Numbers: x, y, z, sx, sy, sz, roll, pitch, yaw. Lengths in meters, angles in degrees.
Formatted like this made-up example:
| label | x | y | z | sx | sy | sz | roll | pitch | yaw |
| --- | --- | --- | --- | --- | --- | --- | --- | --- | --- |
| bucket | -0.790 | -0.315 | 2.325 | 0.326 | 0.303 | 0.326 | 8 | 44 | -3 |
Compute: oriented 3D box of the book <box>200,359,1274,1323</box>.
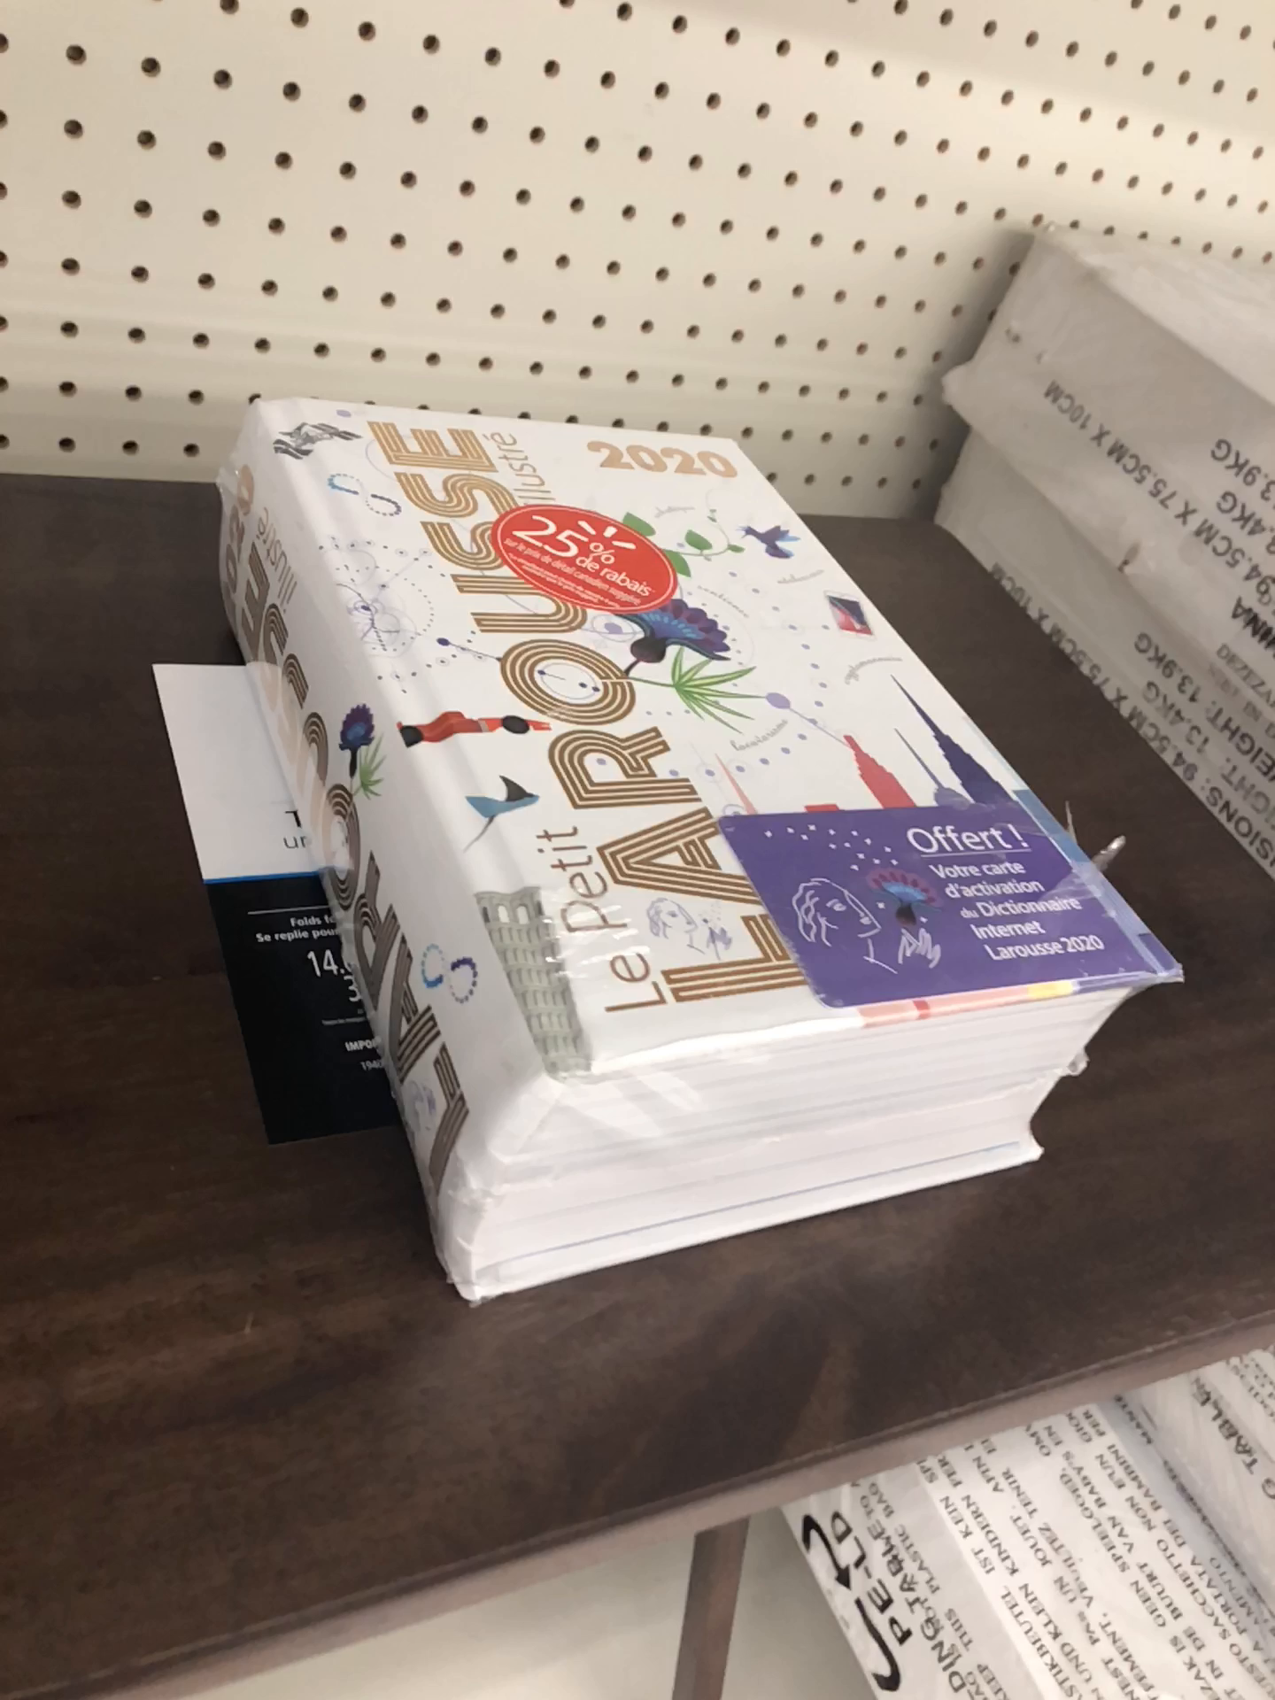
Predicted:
| label | x | y | z | sx | sy | sz | roll | pitch | yaw |
| --- | --- | --- | --- | --- | --- | --- | --- | --- | --- |
| book | 0.006 | -0.025 | 0.345 | 0.170 | 0.069 | 0.231 | -5 | 46 | -28 |
